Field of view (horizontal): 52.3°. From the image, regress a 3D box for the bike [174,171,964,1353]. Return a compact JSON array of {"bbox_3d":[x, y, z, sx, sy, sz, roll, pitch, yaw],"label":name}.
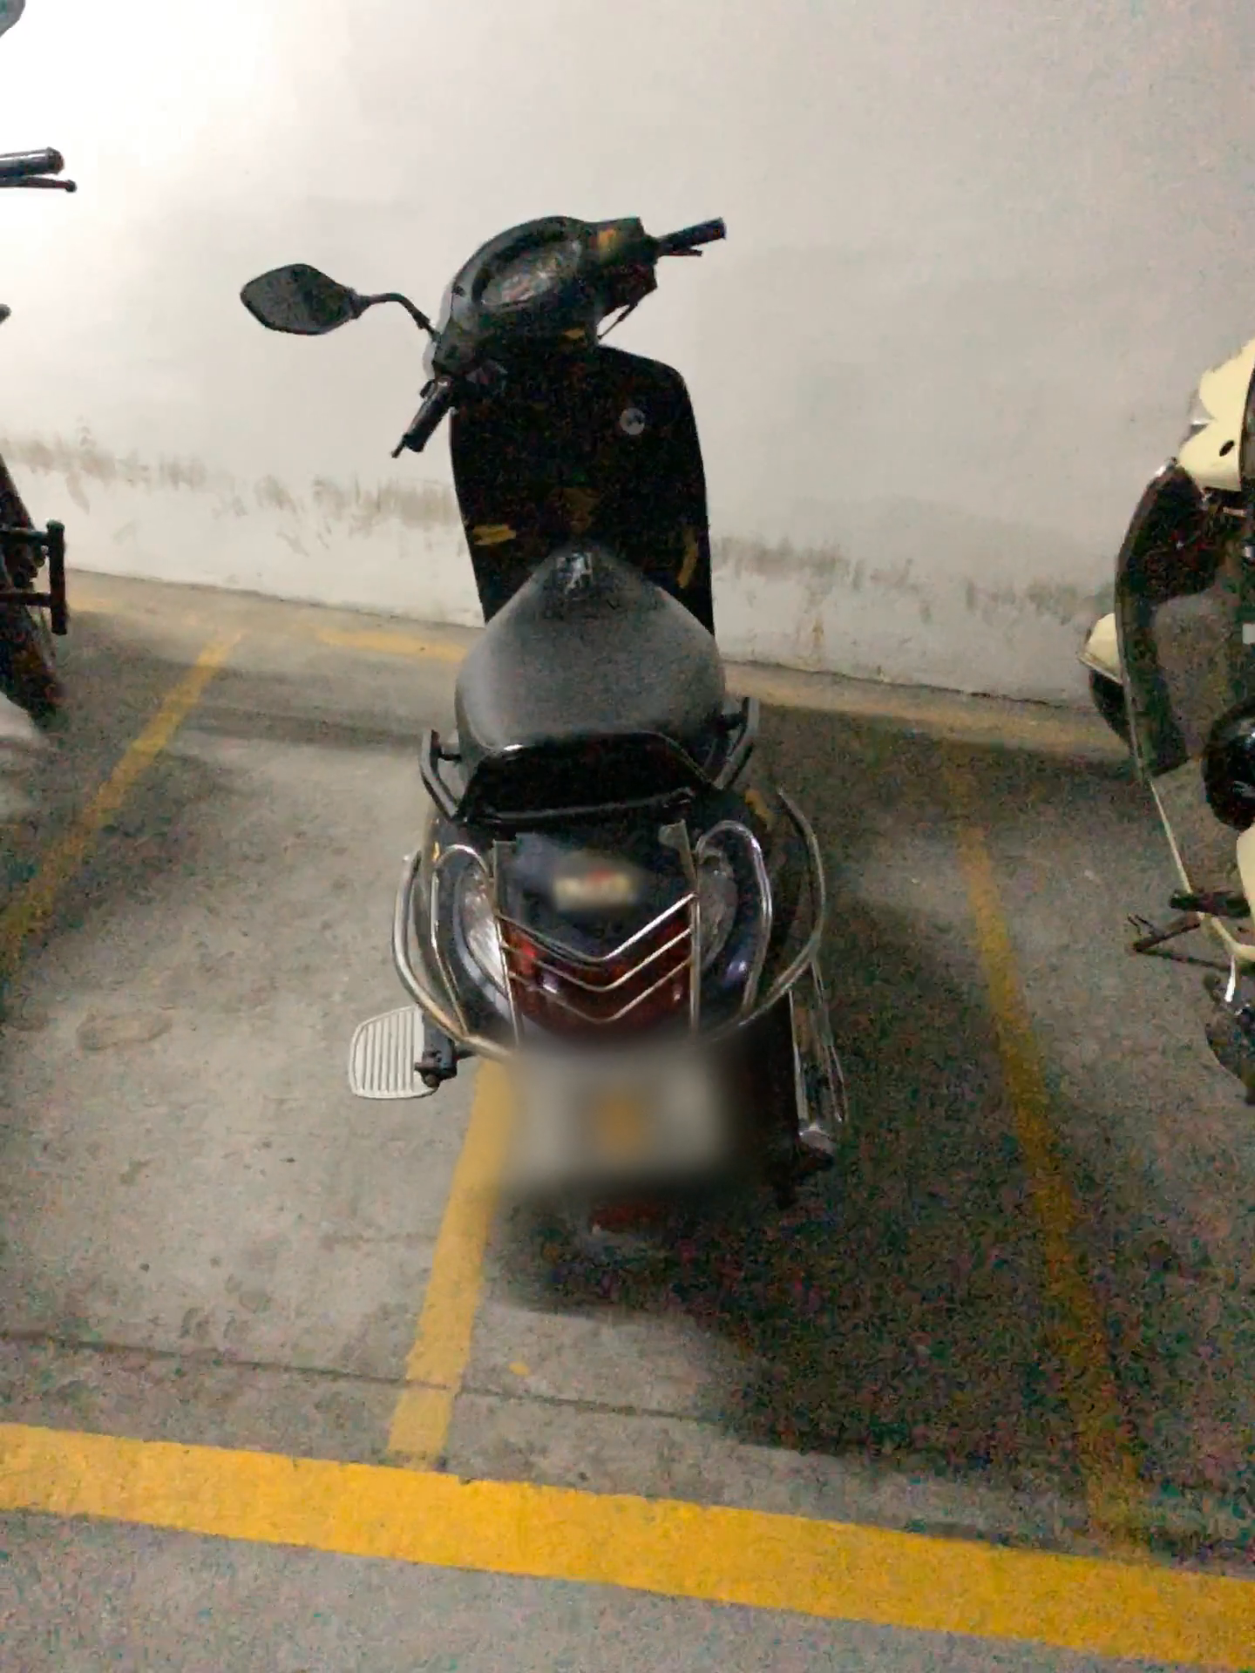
[{"bbox_3d":[-0.175,-0.234,2.038,0.652,1.239,1.539,2,35,-8],"label":"bike"}]
